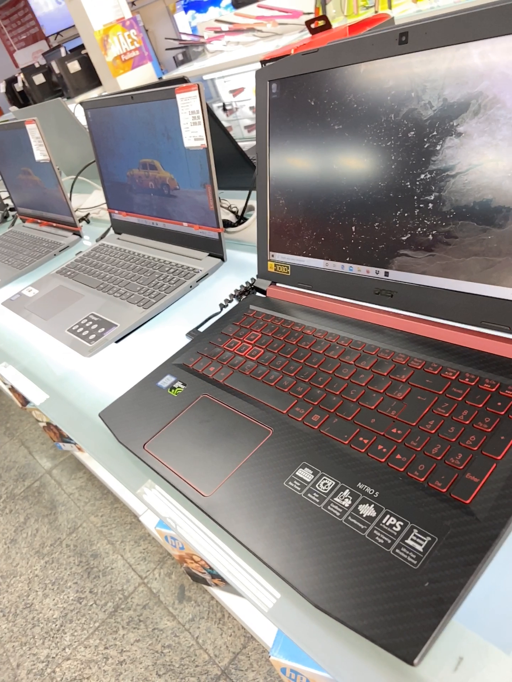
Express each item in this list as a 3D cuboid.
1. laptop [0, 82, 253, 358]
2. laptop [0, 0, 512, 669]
[{"bbox_3d":[-0.267,-0.208,0.820,0.323,0.225,0.356,-41,38,-26],"label":"laptop"},{"bbox_3d":[0.043,-0.071,0.426,0.361,0.218,0.389,-41,36,-24],"label":"laptop"}]
